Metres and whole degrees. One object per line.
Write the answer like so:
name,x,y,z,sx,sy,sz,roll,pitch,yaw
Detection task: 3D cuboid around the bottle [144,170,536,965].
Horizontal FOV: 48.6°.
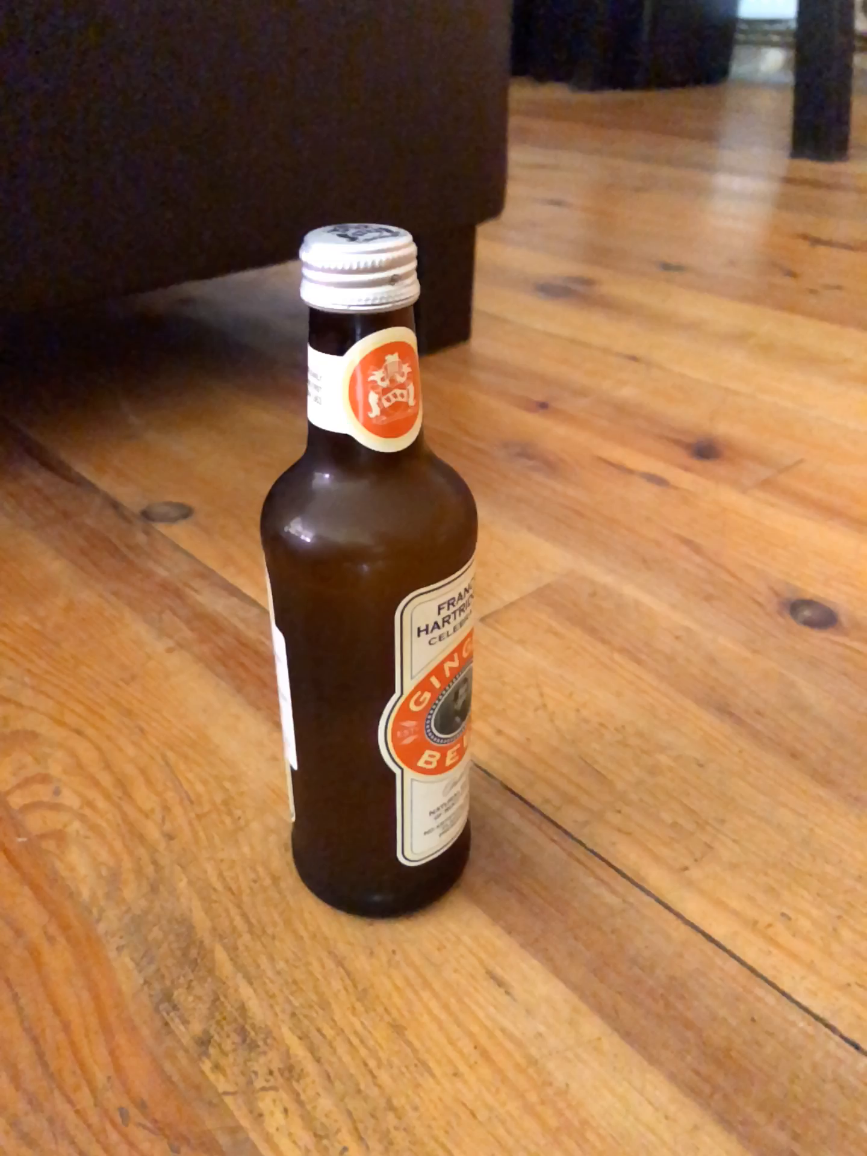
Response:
bottle,-0.019,0.003,0.274,0.060,0.209,0.070,17,35,27
